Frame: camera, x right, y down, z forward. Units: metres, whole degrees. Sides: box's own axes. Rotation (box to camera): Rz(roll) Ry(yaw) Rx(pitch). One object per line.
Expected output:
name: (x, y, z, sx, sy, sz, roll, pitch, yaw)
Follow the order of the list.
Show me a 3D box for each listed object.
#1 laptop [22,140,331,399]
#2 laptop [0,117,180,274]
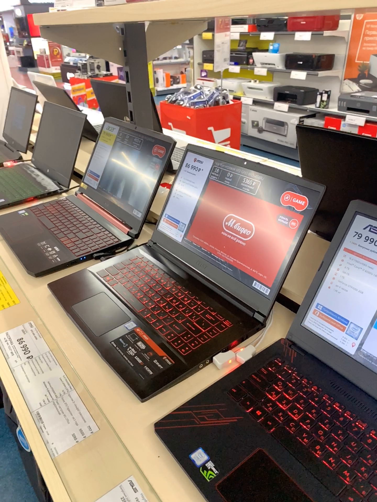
laptop: (-0.028, -0.021, 0.685, 0.370, 0.204, 0.352, -24, 37, -31)
laptop: (-0.278, -0.168, 0.945, 0.371, 0.211, 0.335, -22, 35, -30)
